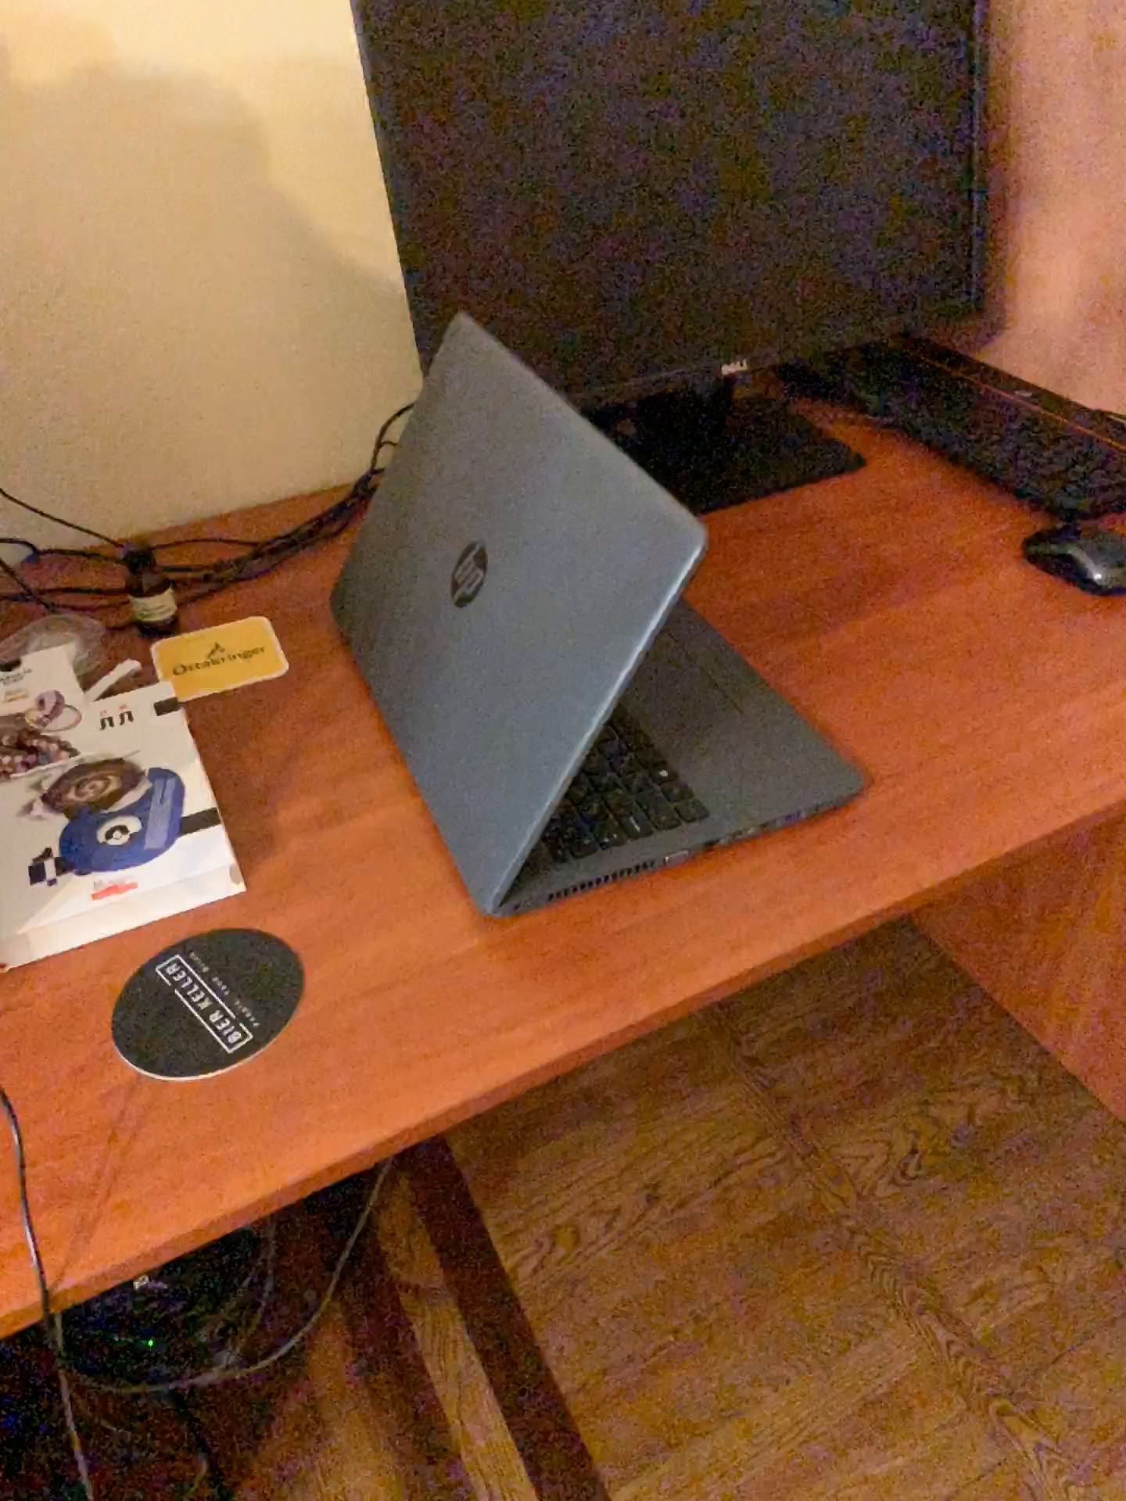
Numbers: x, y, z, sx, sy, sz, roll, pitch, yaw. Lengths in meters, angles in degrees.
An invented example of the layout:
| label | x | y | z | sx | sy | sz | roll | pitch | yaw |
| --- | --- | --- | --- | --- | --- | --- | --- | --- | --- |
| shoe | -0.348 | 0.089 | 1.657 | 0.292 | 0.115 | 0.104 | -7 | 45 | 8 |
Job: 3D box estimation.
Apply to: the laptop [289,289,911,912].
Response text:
| label | x | y | z | sx | sy | sz | roll | pitch | yaw |
| --- | --- | --- | --- | --- | --- | --- | --- | --- | --- |
| laptop | -0.001 | -0.130 | 0.758 | 0.248 | 0.207 | 0.377 | -16 | 40 | -16 |
